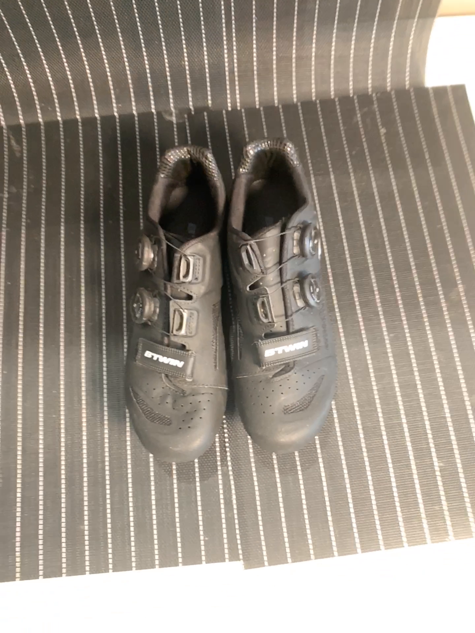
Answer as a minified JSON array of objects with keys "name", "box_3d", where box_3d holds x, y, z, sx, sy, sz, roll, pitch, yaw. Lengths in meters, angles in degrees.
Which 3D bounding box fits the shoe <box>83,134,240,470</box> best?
[{"name":"shoe","box_3d":[-0.052,-0.011,0.412,0.100,0.090,0.260,1,76,2]}]

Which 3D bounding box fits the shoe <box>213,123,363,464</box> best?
[{"name":"shoe","box_3d":[0.035,-0.018,0.421,0.100,0.090,0.270,-2,76,1]}]
